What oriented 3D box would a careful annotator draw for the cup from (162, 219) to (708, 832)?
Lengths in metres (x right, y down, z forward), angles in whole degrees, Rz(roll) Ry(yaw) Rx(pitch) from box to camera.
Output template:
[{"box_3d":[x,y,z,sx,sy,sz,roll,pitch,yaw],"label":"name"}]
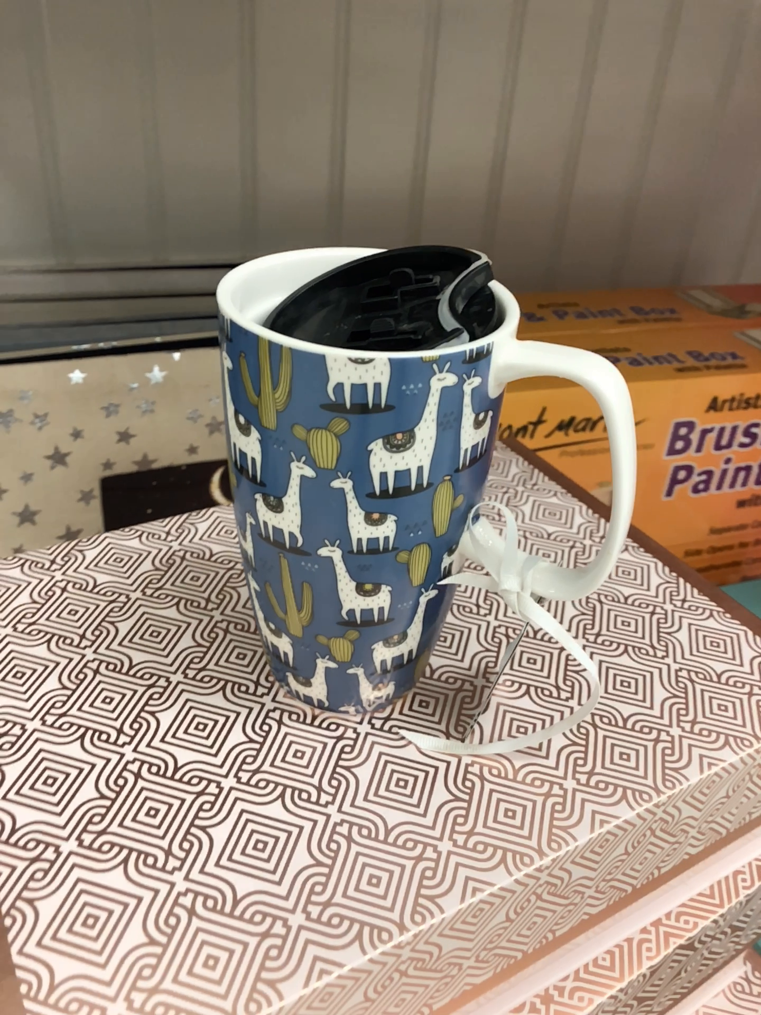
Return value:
[{"box_3d":[0.016,0.000,0.265,0.125,0.138,0.090,15,34,17],"label":"cup"}]
